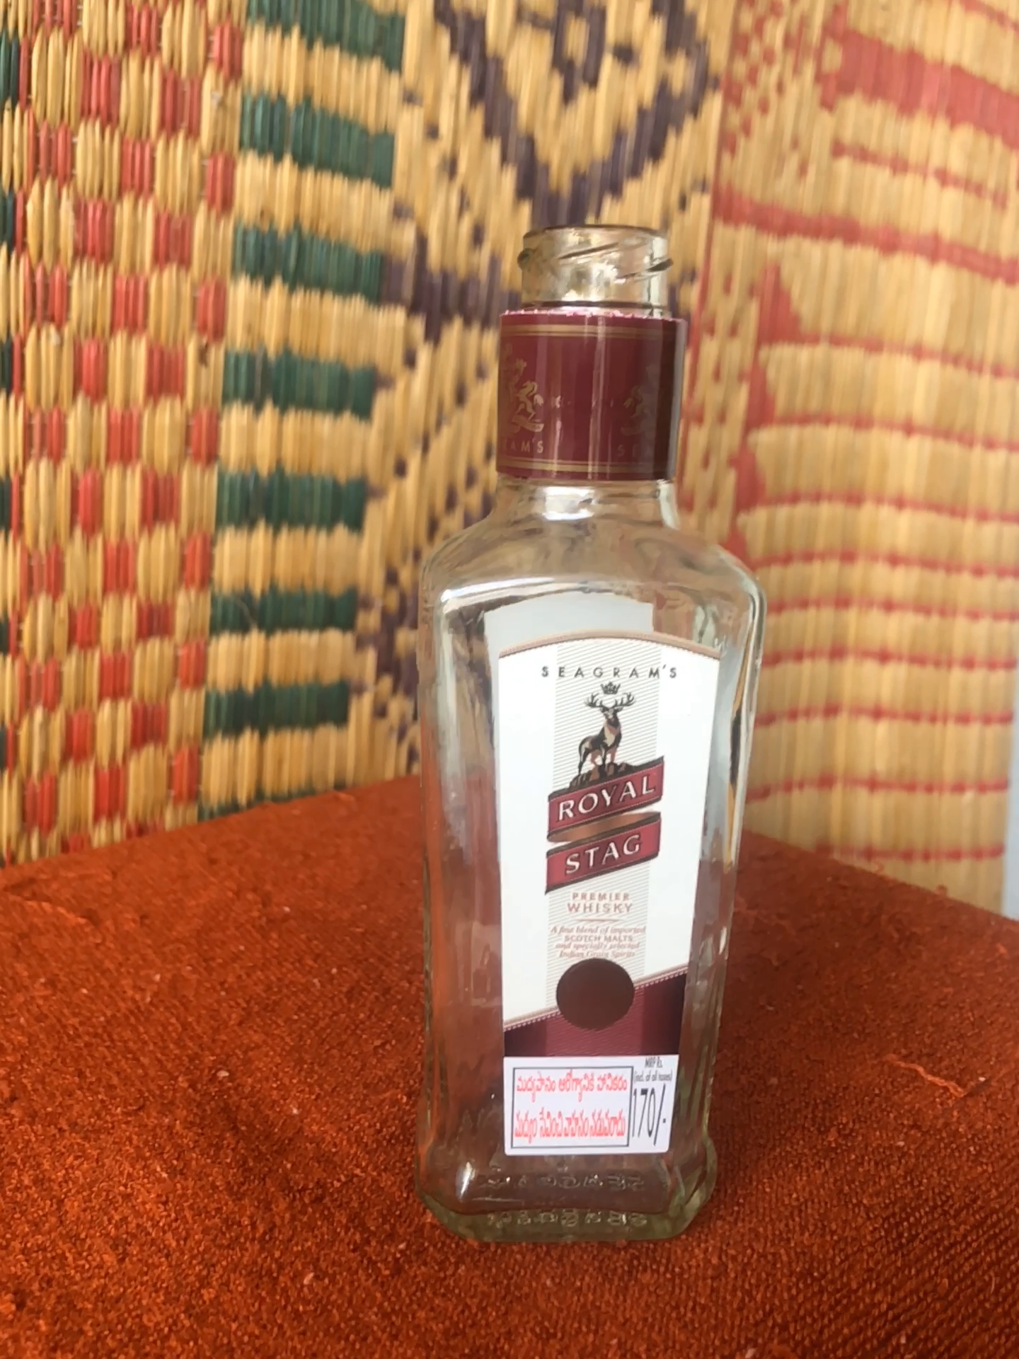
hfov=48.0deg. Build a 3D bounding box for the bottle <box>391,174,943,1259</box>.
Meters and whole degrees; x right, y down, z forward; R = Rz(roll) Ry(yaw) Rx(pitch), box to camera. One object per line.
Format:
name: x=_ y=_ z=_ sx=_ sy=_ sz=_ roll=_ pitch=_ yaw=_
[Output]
bottle: x=0.016 y=0.008 z=0.192 sx=0.060 sy=0.159 sz=0.060 roll=5 pitch=16 yaw=-1
